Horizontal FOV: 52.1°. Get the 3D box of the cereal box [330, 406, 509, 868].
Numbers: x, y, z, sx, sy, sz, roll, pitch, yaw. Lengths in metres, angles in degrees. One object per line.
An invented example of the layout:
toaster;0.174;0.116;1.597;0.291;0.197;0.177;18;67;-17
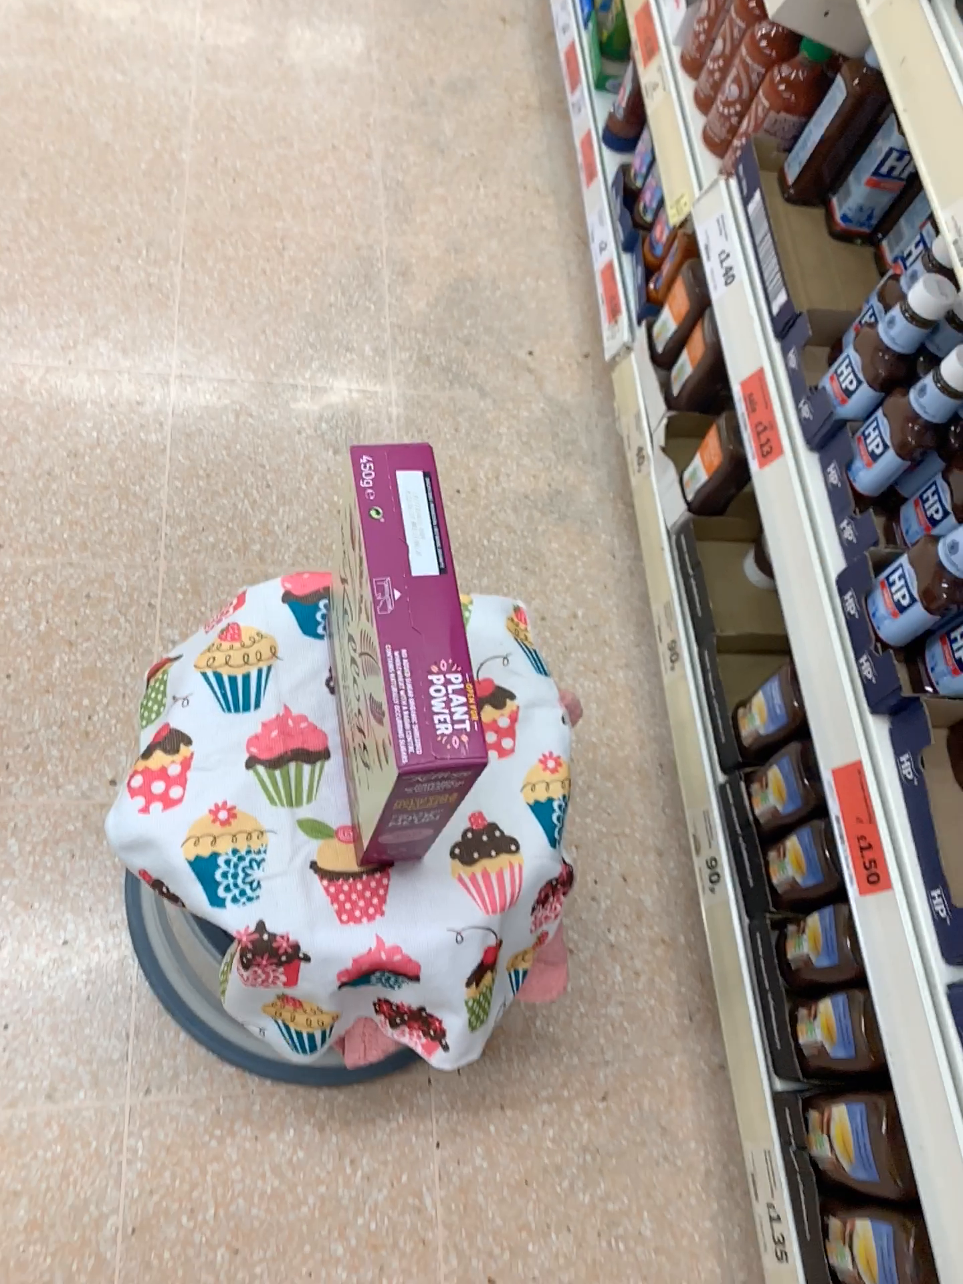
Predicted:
cereal box;-0.052;0.012;0.619;0.050;0.249;0.201;-4;66;-14
